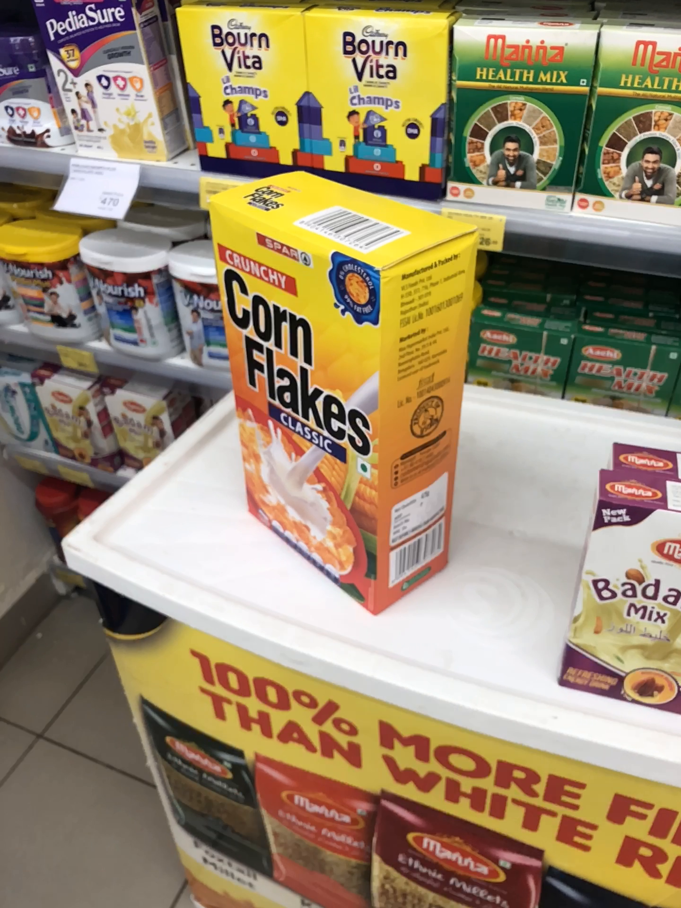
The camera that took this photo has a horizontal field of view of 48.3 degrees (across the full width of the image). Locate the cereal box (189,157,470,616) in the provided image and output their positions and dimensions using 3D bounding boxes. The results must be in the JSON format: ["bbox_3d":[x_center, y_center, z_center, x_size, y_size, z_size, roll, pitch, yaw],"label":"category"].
[{"bbox_3d":[-0.009,-0.052,0.631,0.090,0.319,0.201,-29,45,-30],"label":"cereal box"}]
